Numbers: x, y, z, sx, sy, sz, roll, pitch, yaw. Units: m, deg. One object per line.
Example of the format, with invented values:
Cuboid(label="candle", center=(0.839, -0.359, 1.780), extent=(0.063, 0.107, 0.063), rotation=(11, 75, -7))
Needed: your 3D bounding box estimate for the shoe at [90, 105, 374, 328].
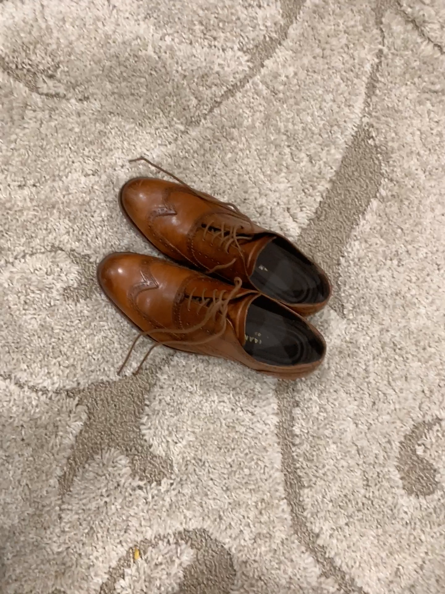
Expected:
Cuboid(label="shoe", center=(0.007, -0.082, 0.541), extent=(0.282, 0.132, 0.105), rotation=(27, 76, -2))

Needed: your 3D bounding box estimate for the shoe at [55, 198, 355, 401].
Cuboid(label="shoe", center=(-0.020, 0.014, 0.518), extent=(0.280, 0.132, 0.105), rotation=(22, 77, -3))
